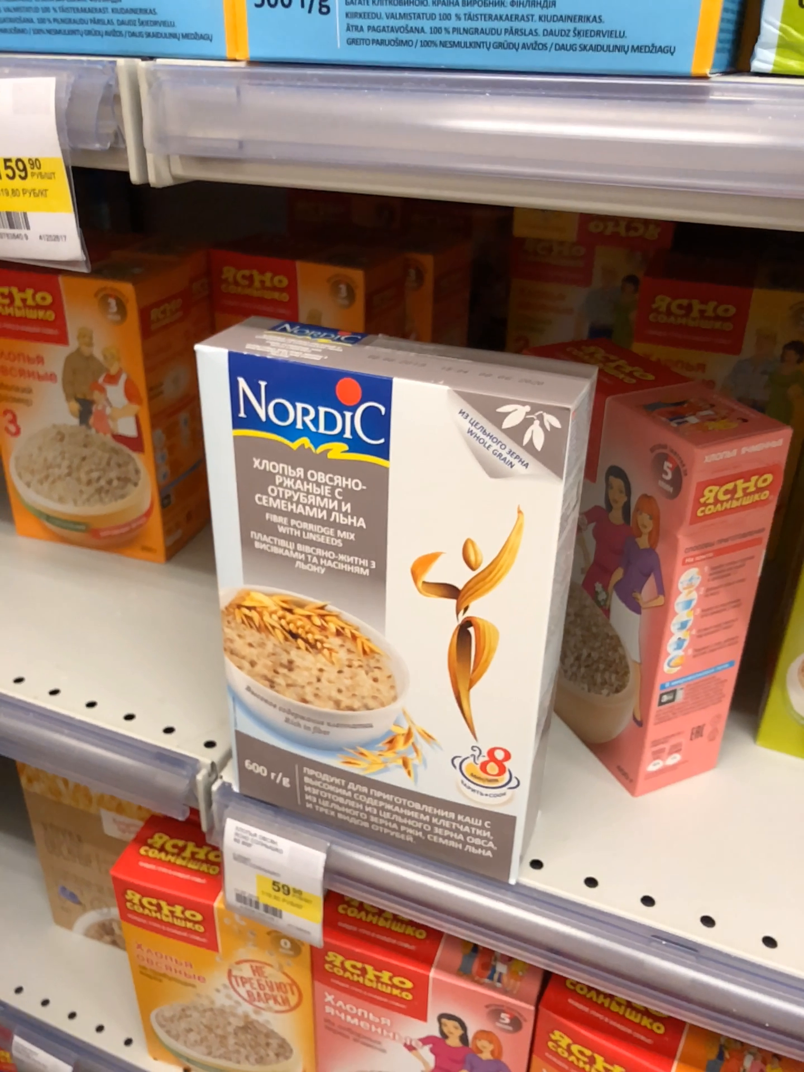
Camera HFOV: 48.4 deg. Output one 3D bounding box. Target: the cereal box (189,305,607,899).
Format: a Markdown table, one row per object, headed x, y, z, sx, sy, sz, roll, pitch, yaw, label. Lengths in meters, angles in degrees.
| x | y | z | sx | sy | sz | roll | pitch | yaw | label |
| --- | --- | --- | --- | --- | --- | --- | --- | --- | --- |
| -0.003 | 0.032 | 0.373 | 0.140 | 0.229 | 0.050 | 12 | 31 | 18 | cereal box |
